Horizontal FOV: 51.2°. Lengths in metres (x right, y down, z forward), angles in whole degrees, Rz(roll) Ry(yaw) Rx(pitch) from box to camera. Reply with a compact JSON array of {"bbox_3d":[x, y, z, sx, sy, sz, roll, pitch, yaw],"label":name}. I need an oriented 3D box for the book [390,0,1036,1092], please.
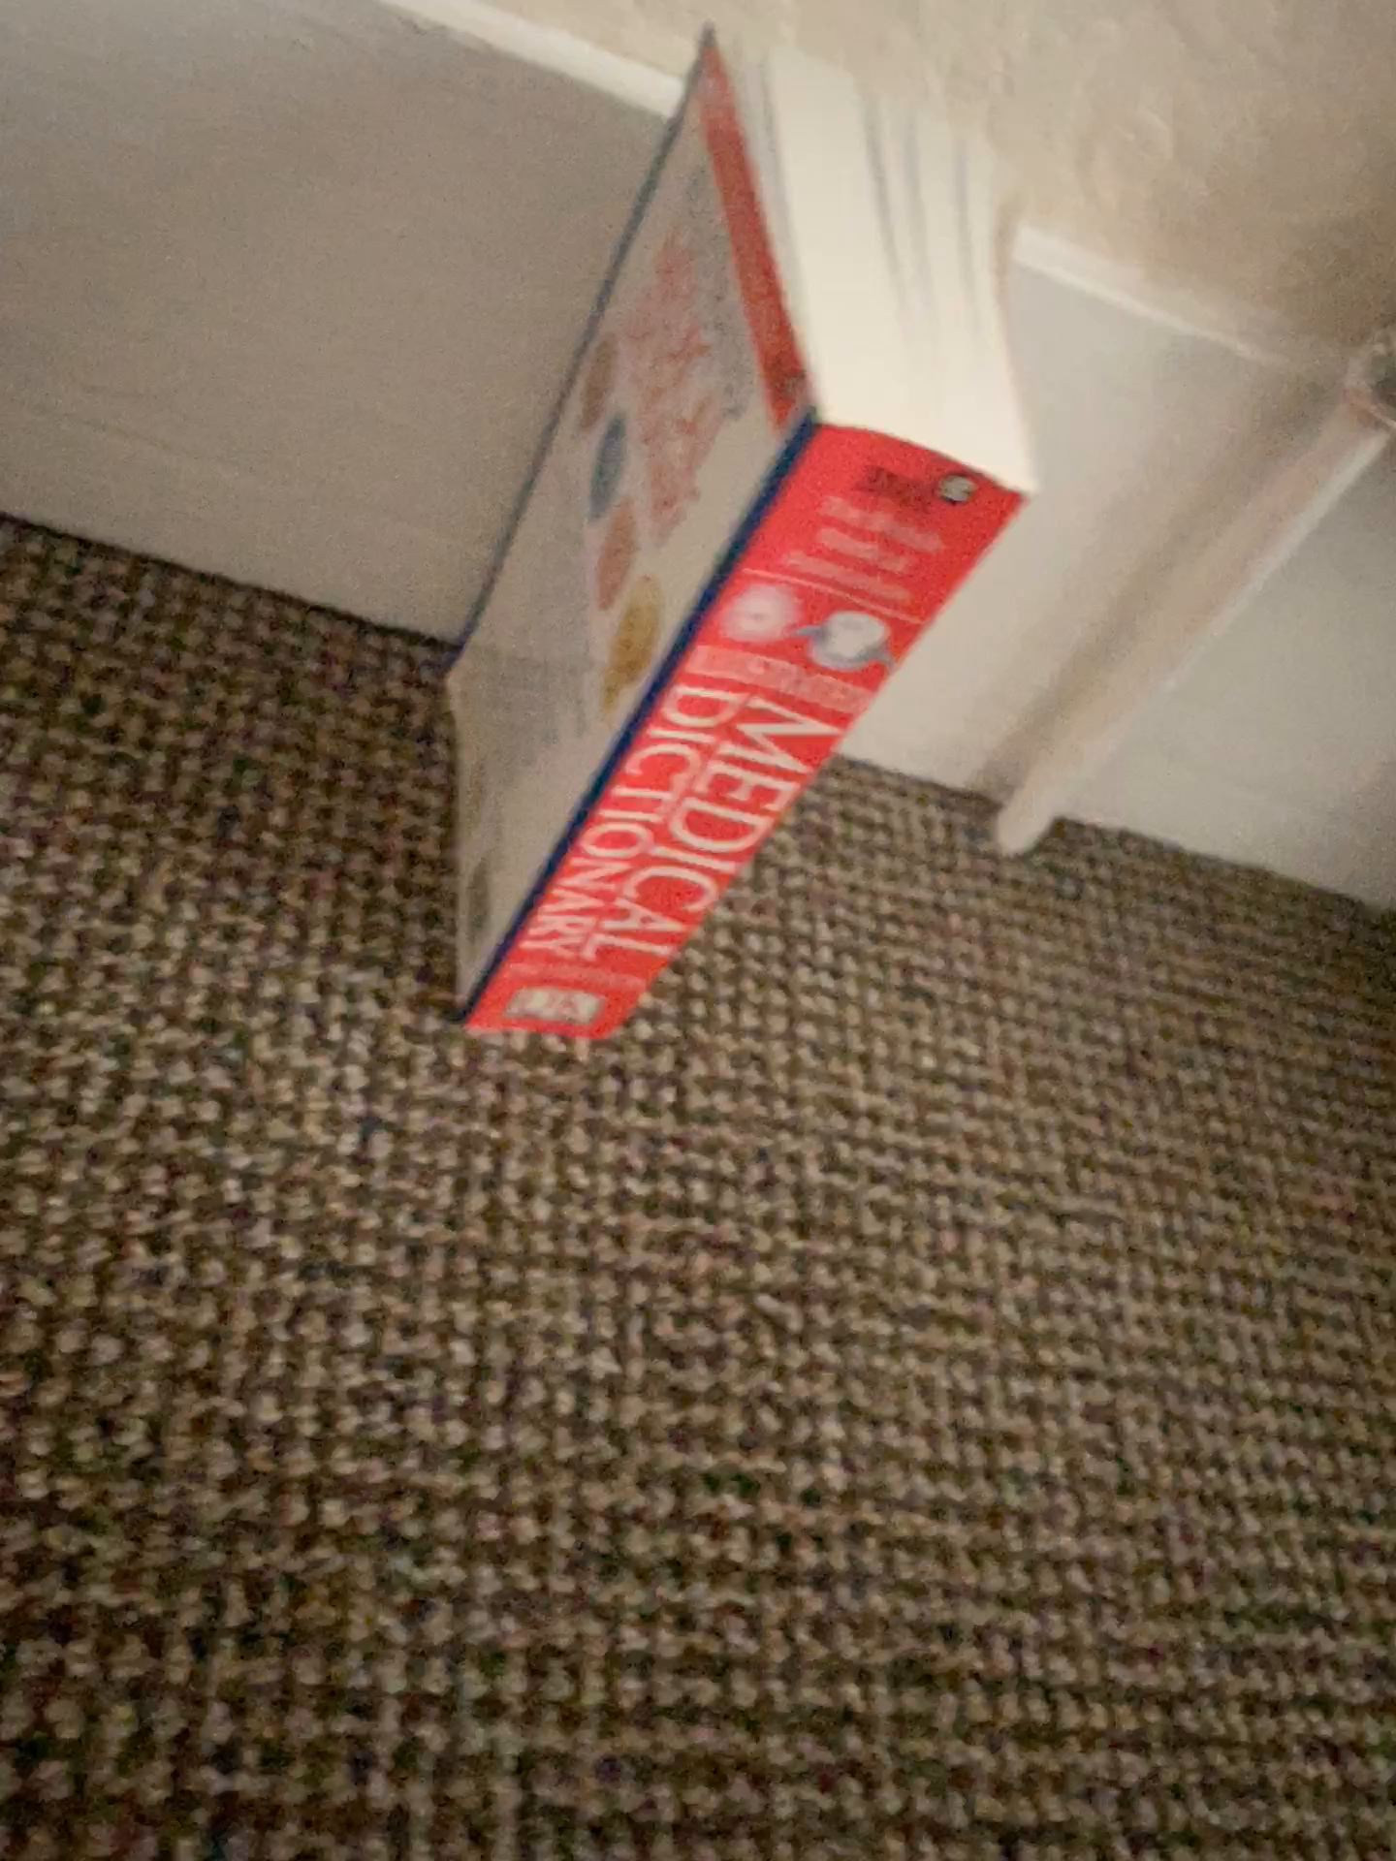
[{"bbox_3d":[-0.015,-0.096,0.360,0.060,0.198,0.191,13,50,-19],"label":"book"}]
